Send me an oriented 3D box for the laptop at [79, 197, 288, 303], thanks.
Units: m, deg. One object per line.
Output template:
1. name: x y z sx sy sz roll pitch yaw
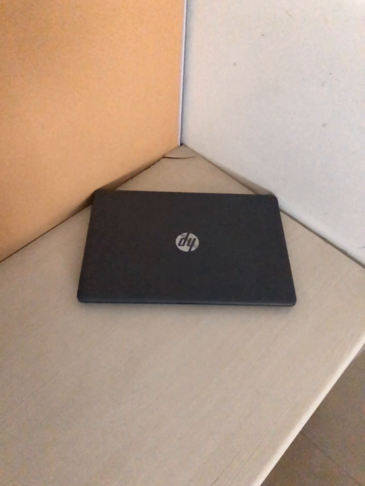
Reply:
1. laptop: 0.004 0.004 0.757 0.355 0.004 0.237 1 53 -2
